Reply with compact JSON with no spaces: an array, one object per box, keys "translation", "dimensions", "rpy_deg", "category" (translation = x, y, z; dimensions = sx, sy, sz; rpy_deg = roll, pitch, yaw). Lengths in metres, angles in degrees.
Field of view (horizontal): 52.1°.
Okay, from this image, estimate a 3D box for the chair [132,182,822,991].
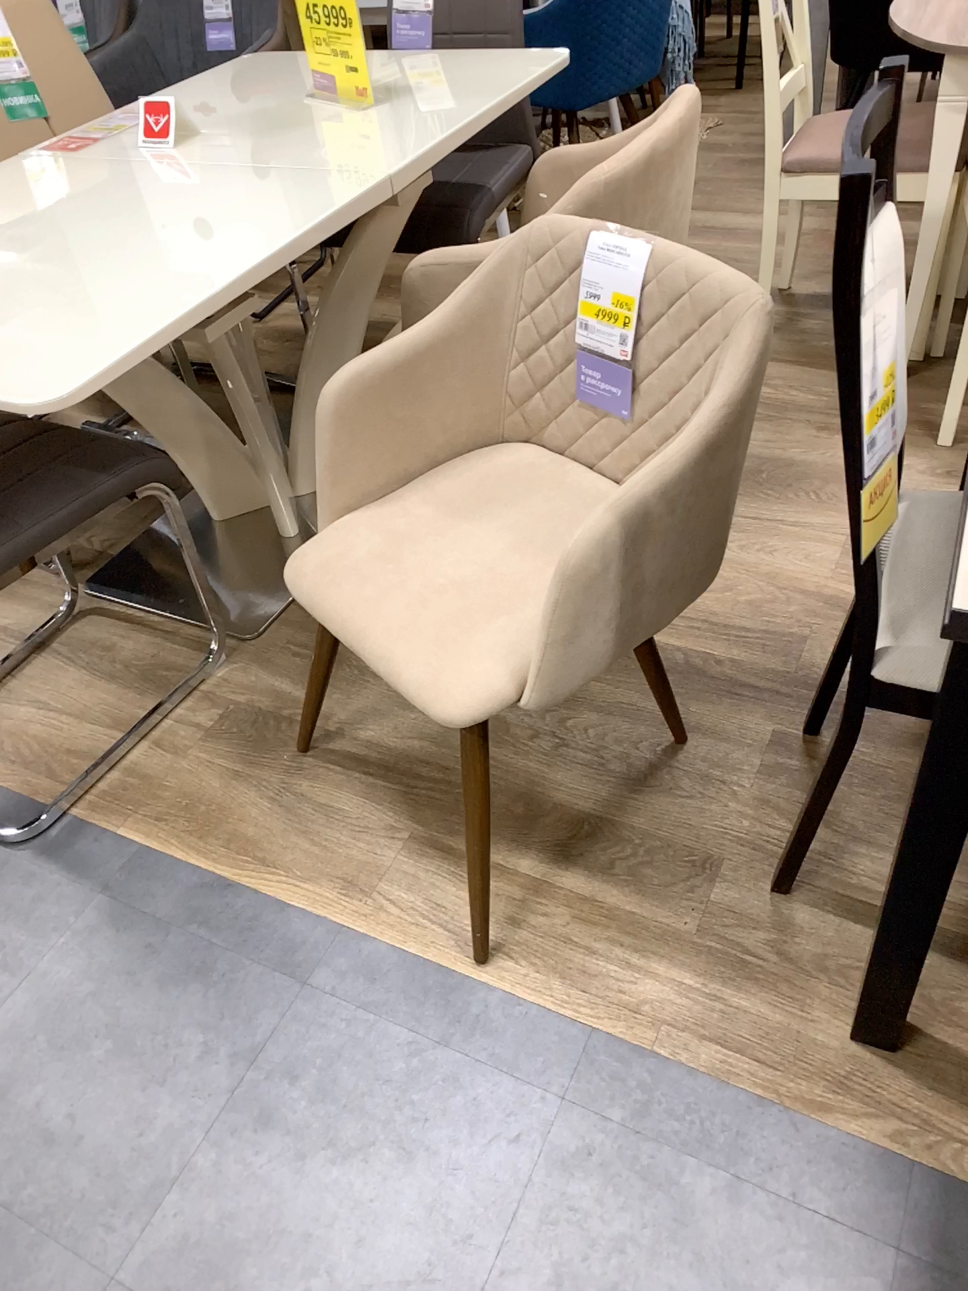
[{"translation":[0.010,-0.097,1.439],"dimensions":[0.571,0.835,0.602],"rpy_deg":[-31,46,-23],"category":"chair"}]
